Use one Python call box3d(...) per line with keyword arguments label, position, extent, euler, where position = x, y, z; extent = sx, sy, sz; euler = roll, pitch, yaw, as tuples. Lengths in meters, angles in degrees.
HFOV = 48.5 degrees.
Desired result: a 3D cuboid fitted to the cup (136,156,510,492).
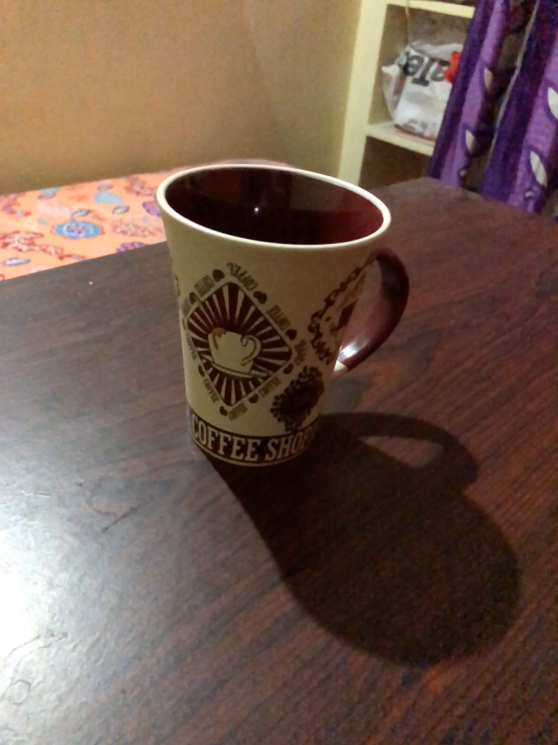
box3d(label="cup", position=(0.010, -0.031, 0.279), extent=(0.120, 0.099, 0.100), euler=(-10, 37, -24))
